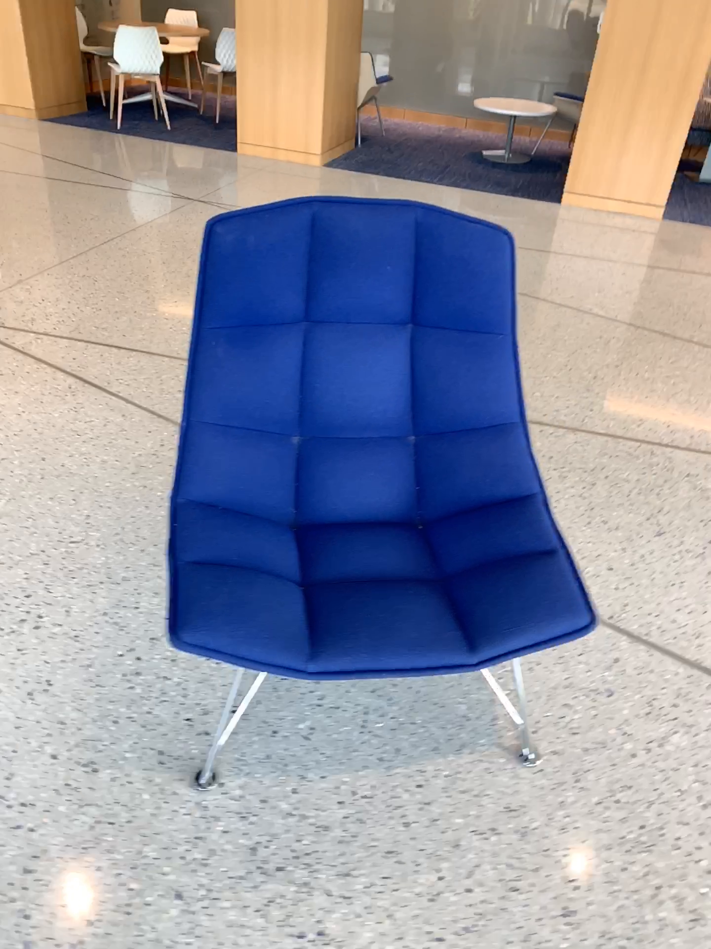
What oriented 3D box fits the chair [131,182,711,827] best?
[{"bbox_3d":[0.053,0.026,1.500,0.798,0.962,0.835,0,34,-8],"label":"chair"}]
